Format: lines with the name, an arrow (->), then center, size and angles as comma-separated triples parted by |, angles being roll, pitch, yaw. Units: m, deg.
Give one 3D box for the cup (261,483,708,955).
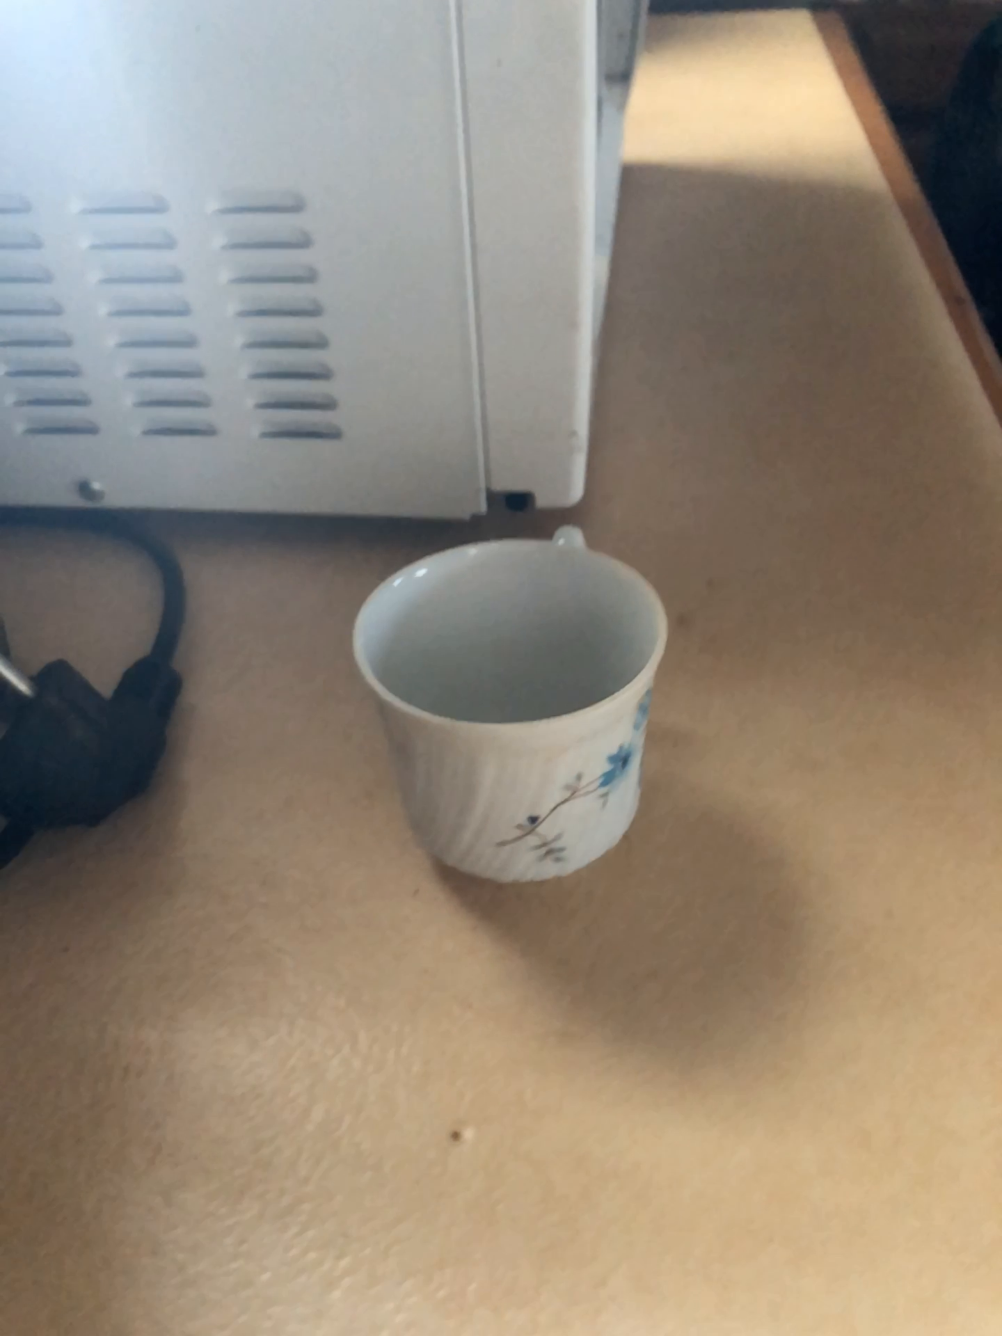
cup -> 0.003, 0.006, 0.255 | 0.070, 0.050, 0.091 | 9, 40, 16
